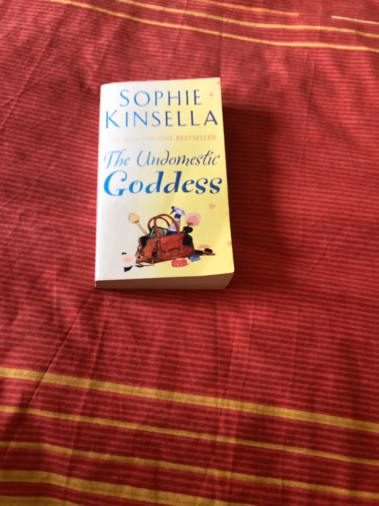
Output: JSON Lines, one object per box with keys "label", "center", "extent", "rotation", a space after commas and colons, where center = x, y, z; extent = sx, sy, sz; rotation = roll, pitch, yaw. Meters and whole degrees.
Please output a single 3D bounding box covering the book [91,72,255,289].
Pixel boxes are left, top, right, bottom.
{"label": "book", "center": [-0.015, -0.063, 0.355], "extent": [0.120, 0.040, 0.180], "rotation": [-1, 73, -3]}
